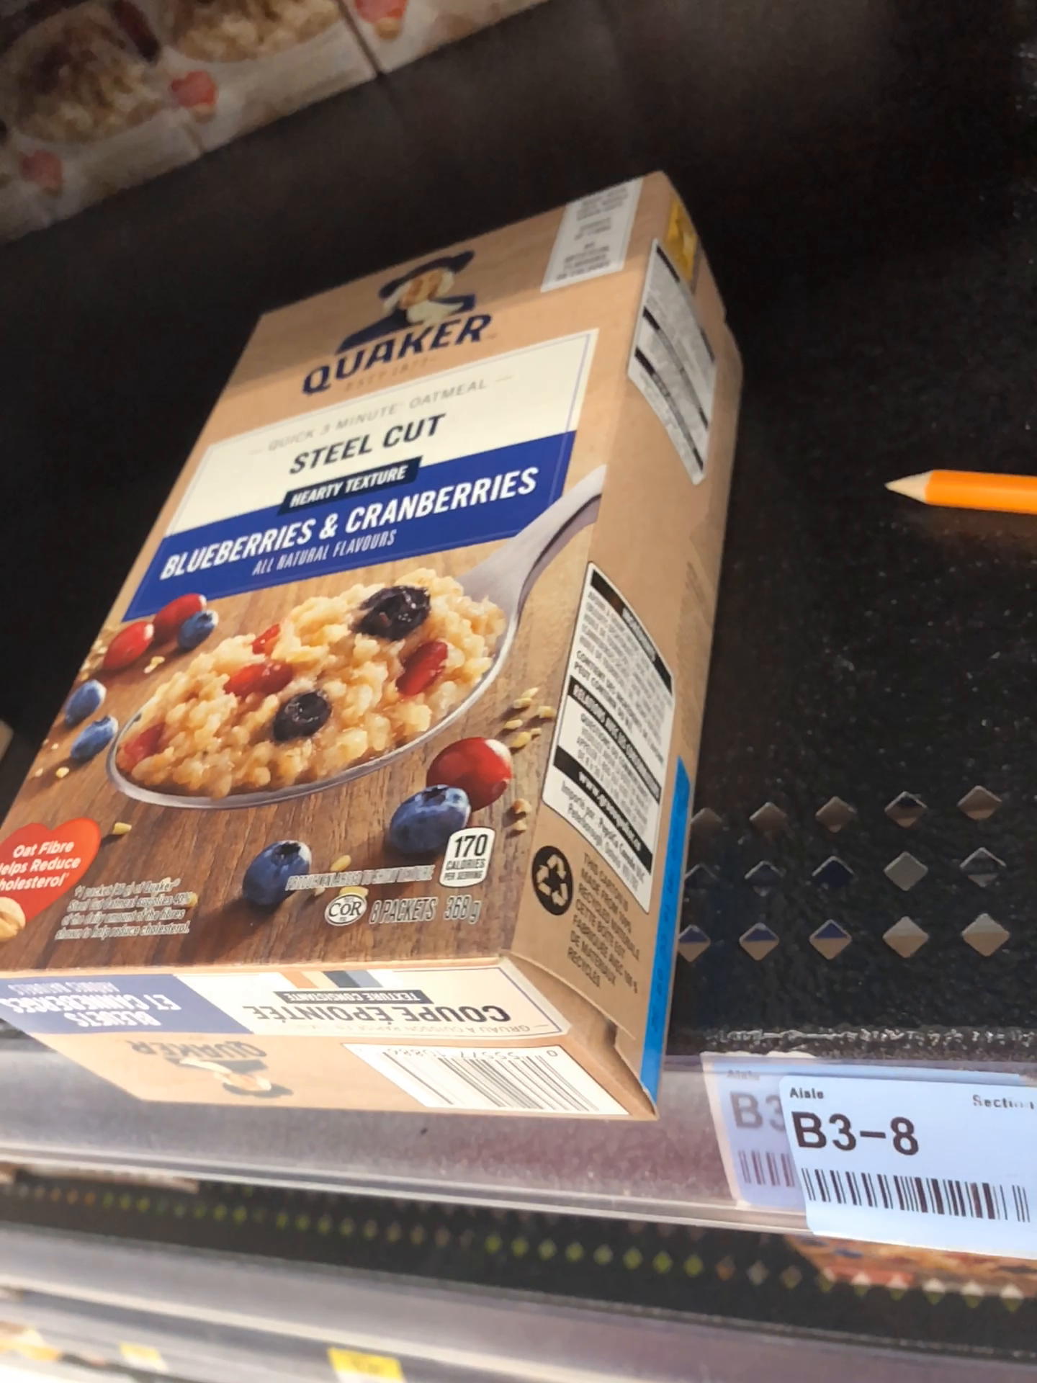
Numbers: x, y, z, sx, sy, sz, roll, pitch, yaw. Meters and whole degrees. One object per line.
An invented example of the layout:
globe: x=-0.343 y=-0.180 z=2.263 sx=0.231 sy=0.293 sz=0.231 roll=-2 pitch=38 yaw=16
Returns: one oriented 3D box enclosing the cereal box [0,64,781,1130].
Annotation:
cereal box: x=-0.019 y=-0.034 z=0.270 sx=0.130 sy=0.060 sz=0.240 roll=-9 pitch=49 yaw=28
